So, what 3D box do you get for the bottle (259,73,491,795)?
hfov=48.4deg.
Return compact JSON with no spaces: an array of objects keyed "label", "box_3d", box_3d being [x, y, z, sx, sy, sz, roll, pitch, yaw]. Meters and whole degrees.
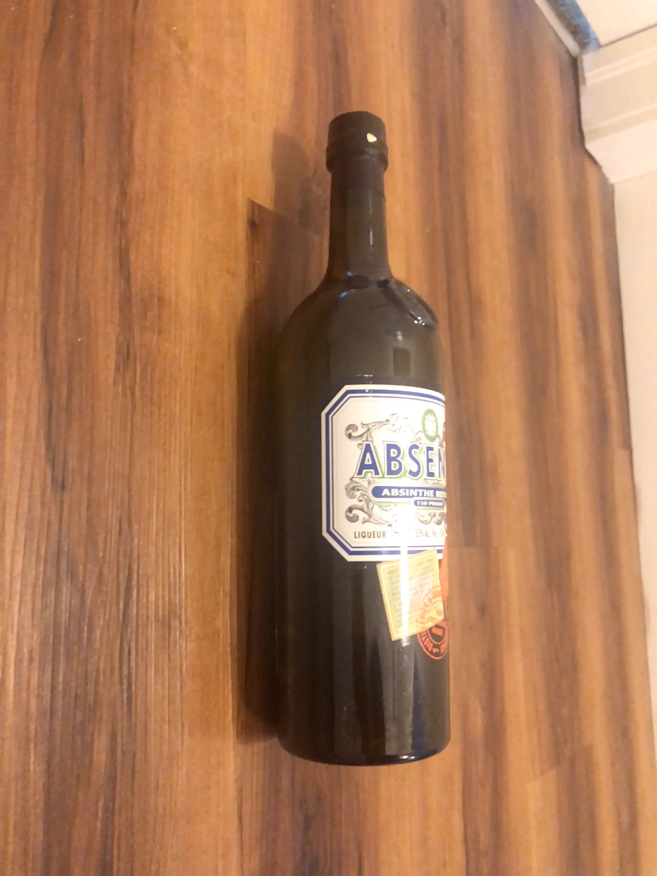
[{"label":"bottle","box_3d":[0.020,-0.005,0.352,0.081,0.069,0.300,11,75,-51]}]
